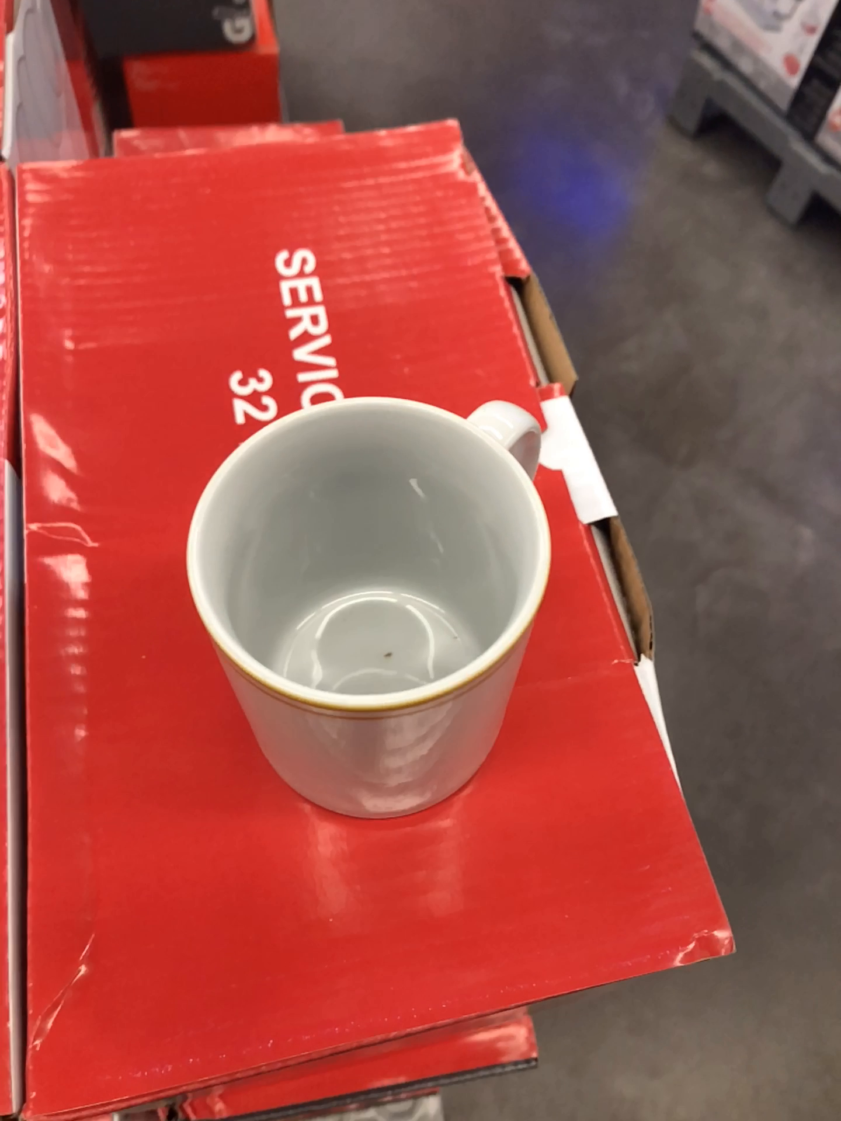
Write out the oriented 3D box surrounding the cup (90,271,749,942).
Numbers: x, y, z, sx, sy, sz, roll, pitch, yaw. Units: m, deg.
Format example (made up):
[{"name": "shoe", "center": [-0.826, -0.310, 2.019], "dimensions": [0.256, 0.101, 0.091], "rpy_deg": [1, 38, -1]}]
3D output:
[{"name": "cup", "center": [0.001, 0.012, 0.246], "dimensions": [0.096, 0.091, 0.116], "rpy_deg": [34, 62, 14]}]
